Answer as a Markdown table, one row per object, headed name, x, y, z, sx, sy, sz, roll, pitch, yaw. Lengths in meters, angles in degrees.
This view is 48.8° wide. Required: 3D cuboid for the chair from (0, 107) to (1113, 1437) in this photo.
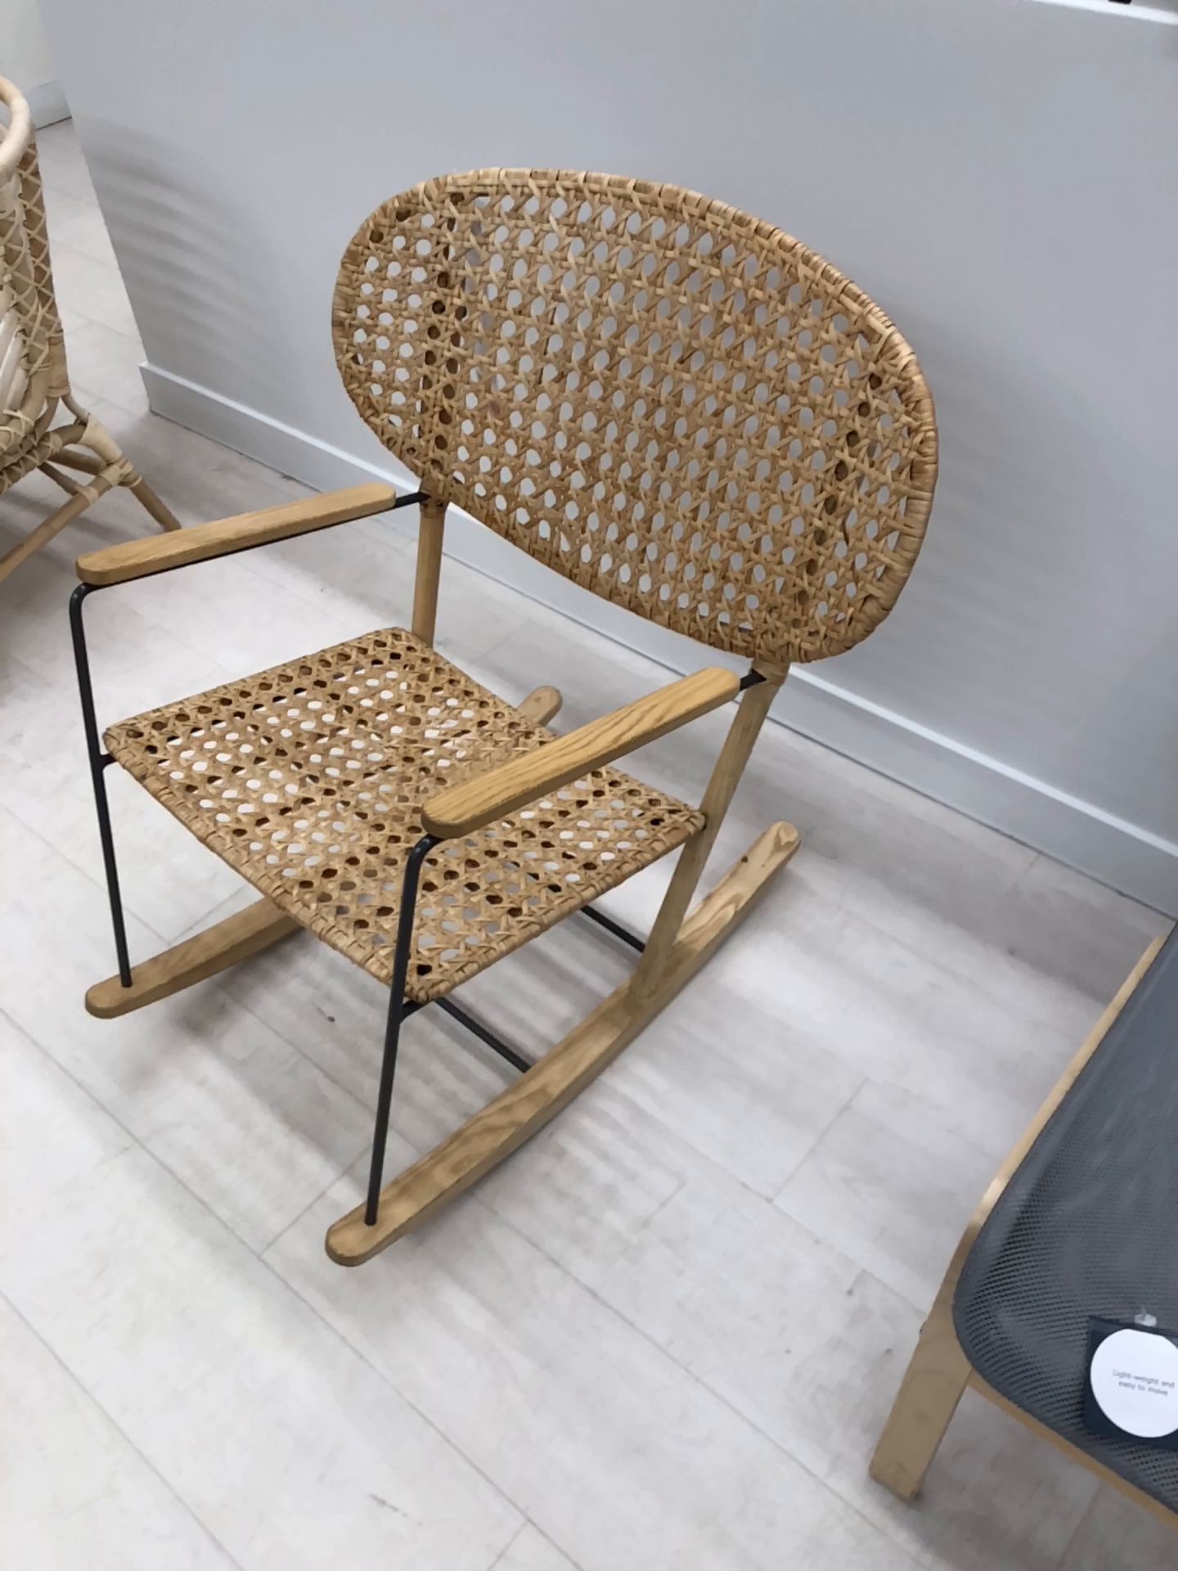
| name | x | y | z | sx | sy | sz | roll | pitch | yaw |
| --- | --- | --- | --- | --- | --- | --- | --- | --- | --- |
| chair | -0.140 | -0.084 | 1.367 | 0.832 | 0.787 | 0.852 | 33 | 56 | 30 |
